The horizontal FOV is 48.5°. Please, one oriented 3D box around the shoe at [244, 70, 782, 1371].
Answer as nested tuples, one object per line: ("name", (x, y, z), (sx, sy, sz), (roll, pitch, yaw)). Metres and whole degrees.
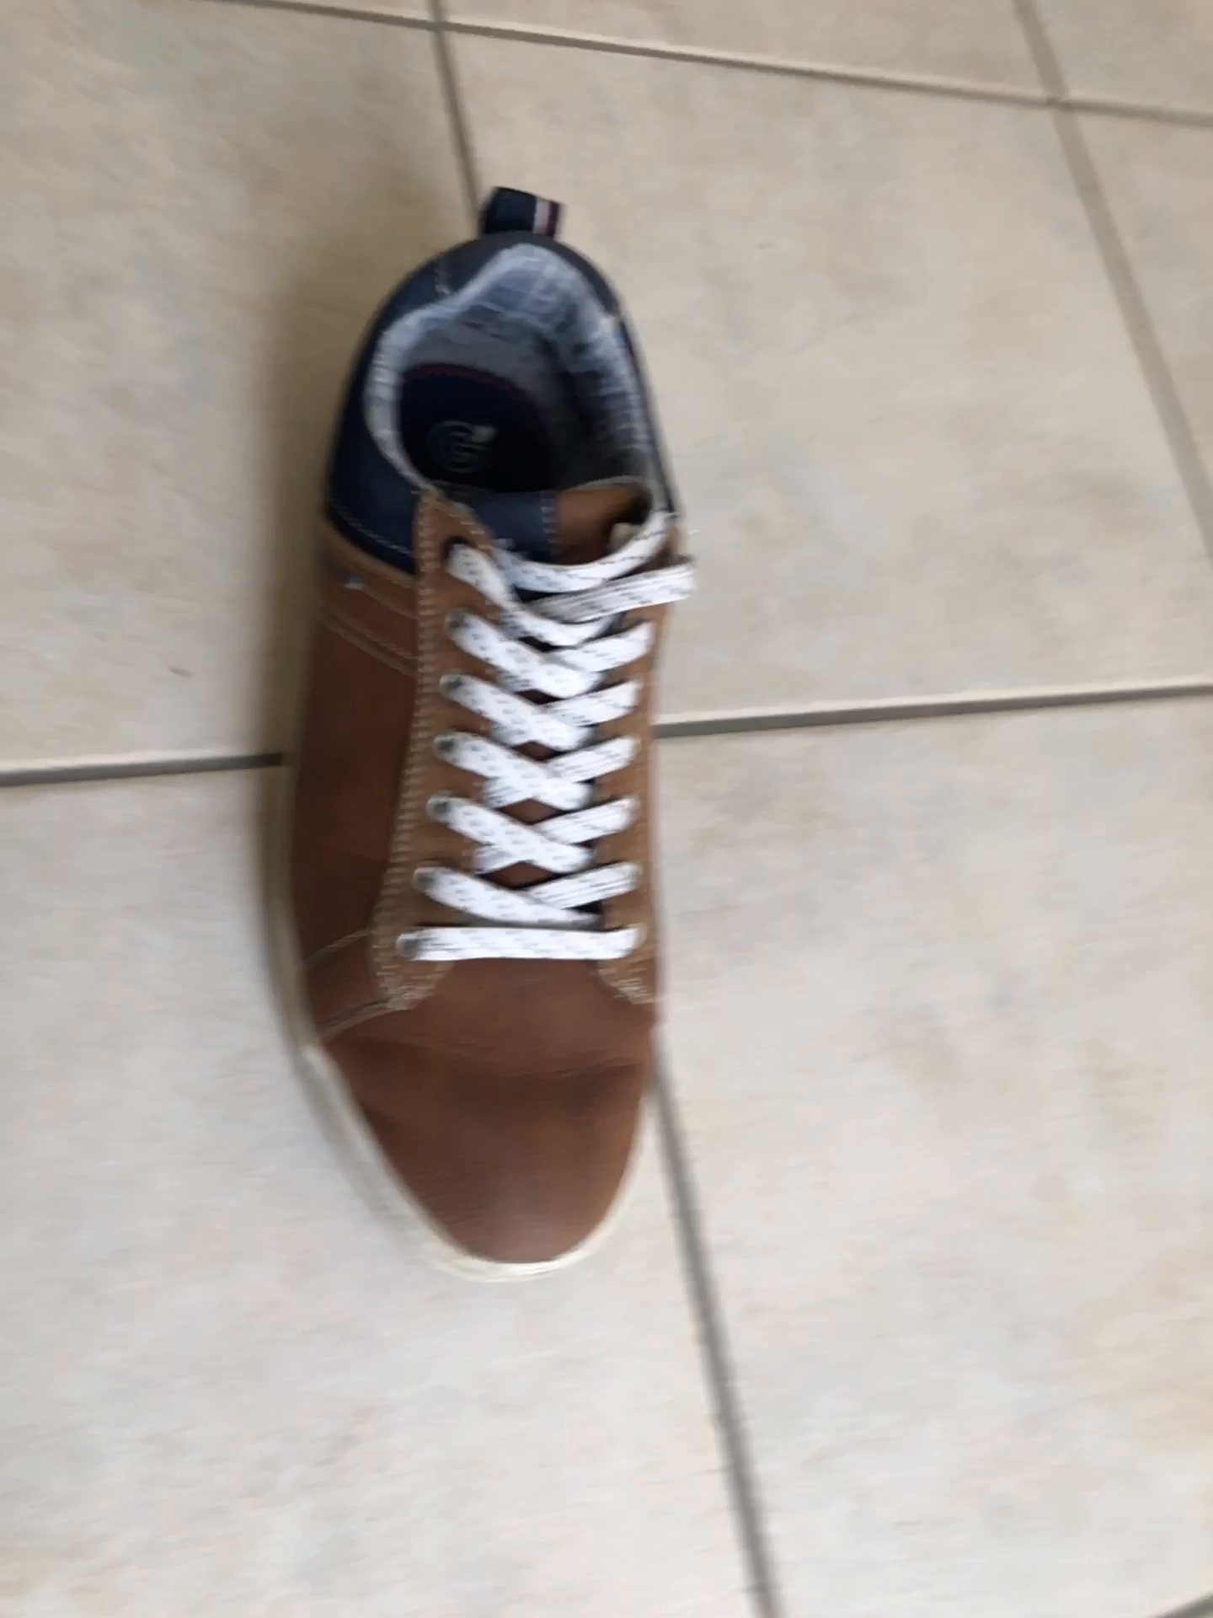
("shoe", (-0.038, -0.023, 0.374), (0.100, 0.120, 0.320), (4, 69, -19))
